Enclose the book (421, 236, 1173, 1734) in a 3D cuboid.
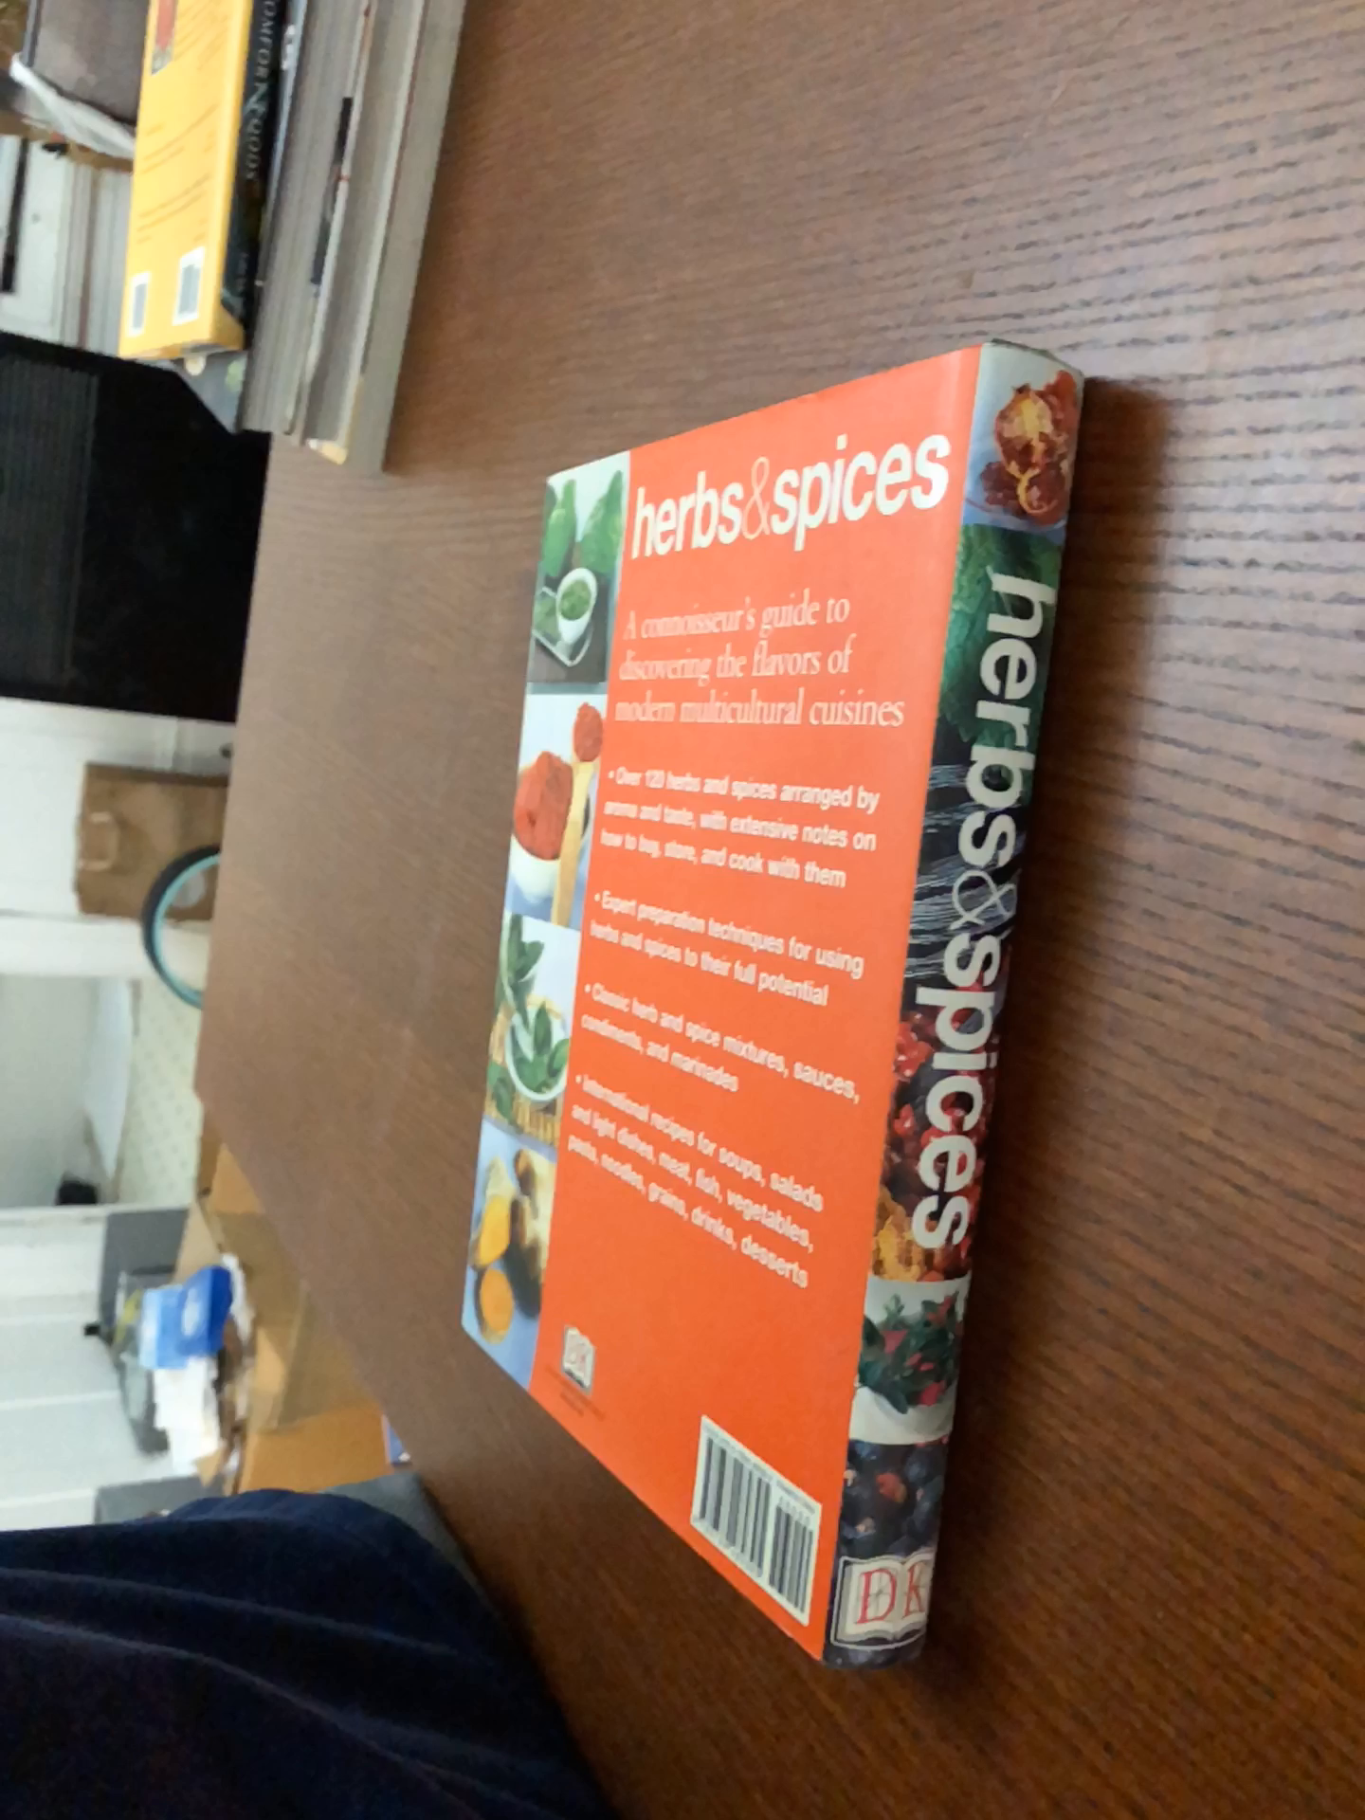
[{"bbox_3d":[0.005,0.006,0.369,0.211,0.040,0.270,15,99,60],"label":"book"}]
